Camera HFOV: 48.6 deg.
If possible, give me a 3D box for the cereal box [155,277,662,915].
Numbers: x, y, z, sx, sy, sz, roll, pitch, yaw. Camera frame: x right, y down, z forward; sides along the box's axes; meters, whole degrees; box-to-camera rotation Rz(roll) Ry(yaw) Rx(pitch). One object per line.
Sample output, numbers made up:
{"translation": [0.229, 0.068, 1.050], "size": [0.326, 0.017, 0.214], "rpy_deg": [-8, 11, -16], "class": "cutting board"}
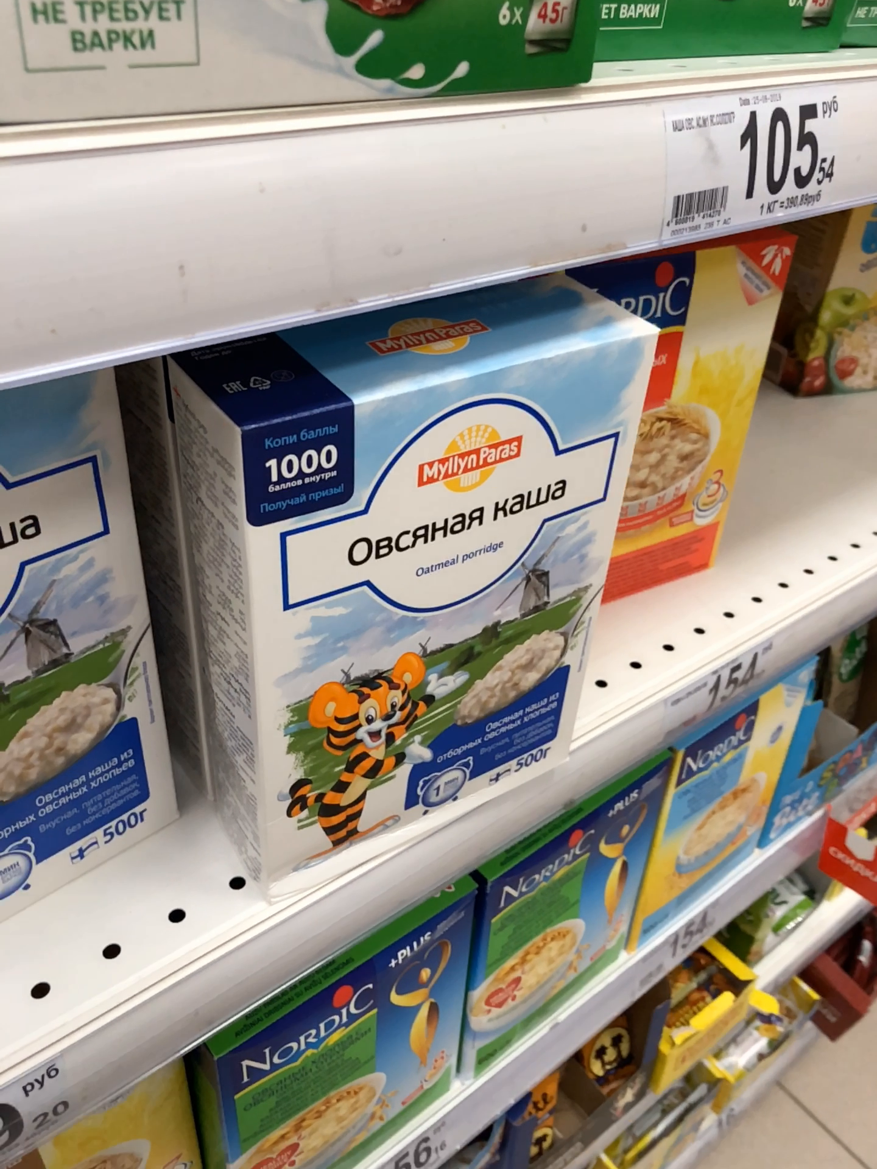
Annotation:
{"translation": [-0.012, 0.008, 0.358], "size": [0.150, 0.209, 0.050], "rpy_deg": [-18, 43, -28], "class": "cereal box"}
